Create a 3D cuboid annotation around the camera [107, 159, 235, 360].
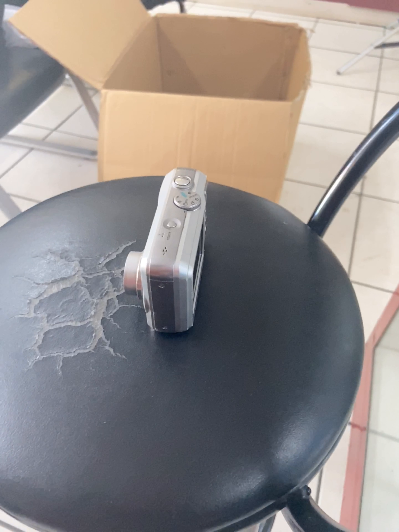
[{"bbox_3d":[-0.011,-0.007,0.246,0.050,0.060,0.101,7,48,5],"label":"camera"}]
